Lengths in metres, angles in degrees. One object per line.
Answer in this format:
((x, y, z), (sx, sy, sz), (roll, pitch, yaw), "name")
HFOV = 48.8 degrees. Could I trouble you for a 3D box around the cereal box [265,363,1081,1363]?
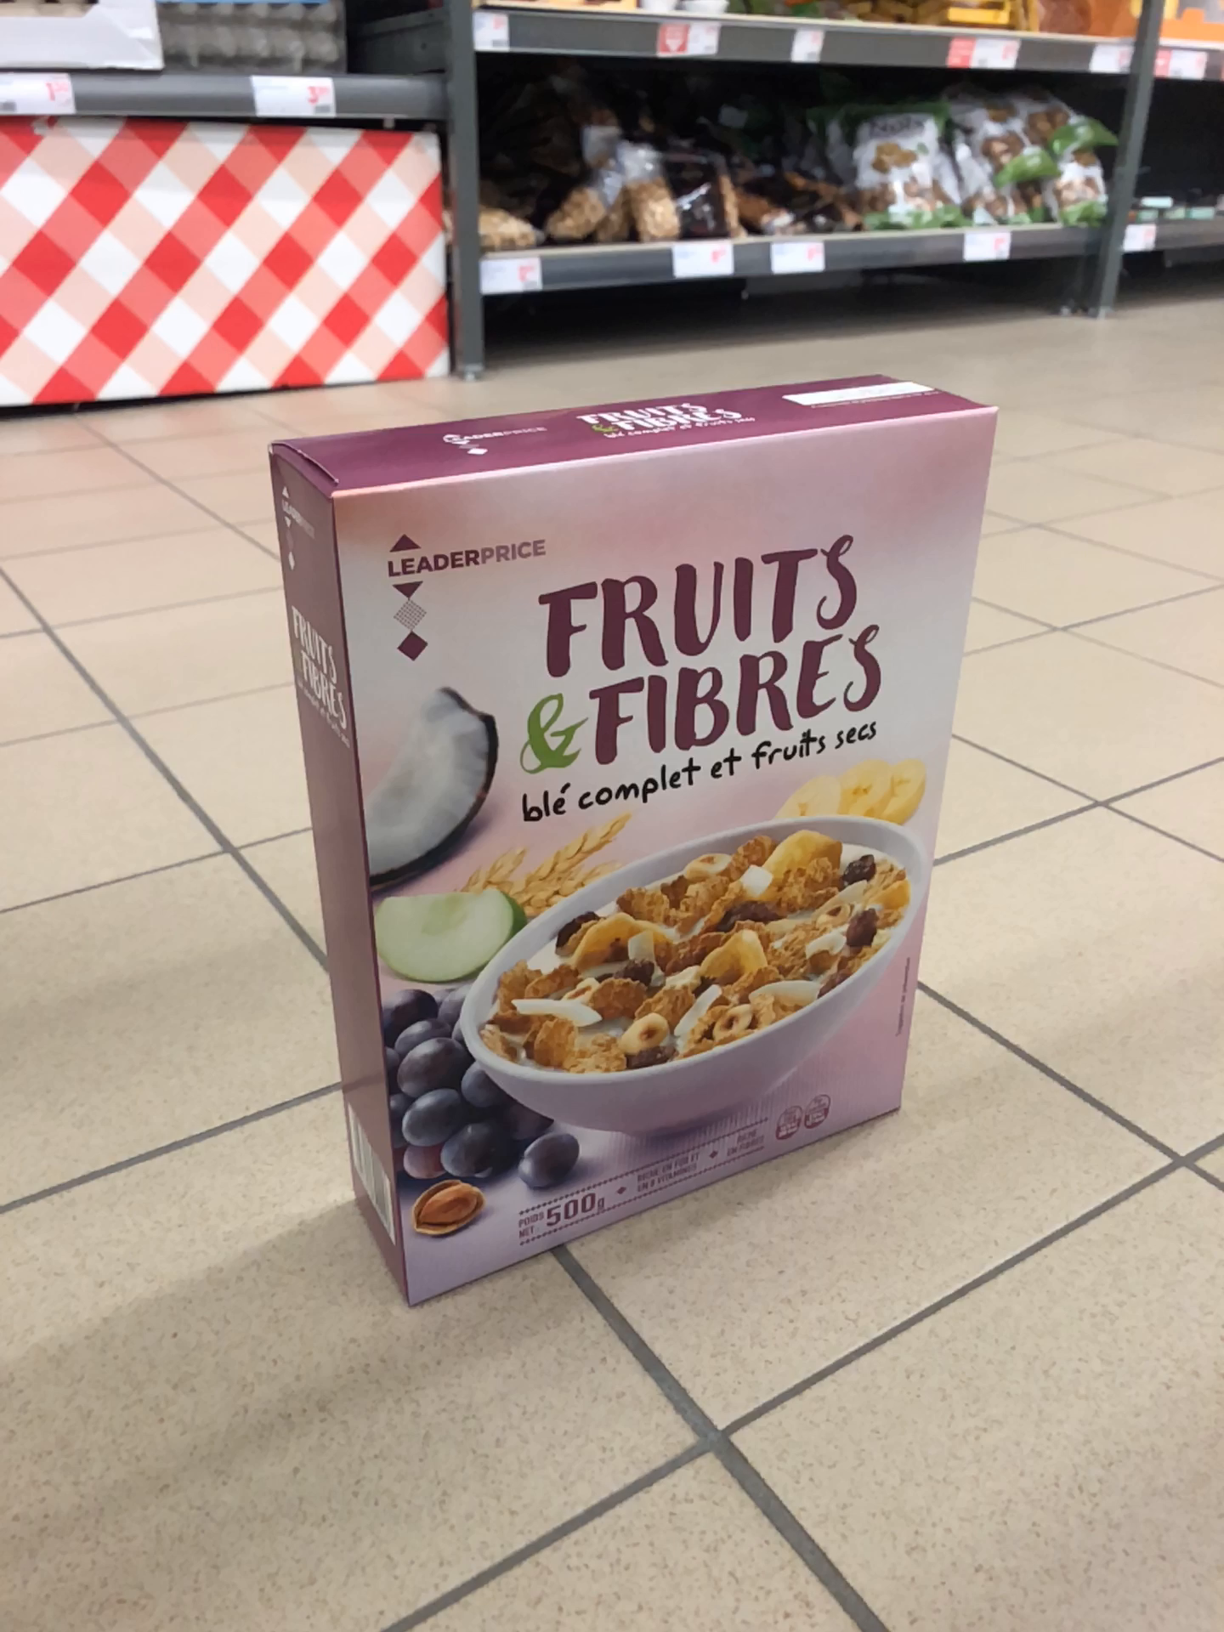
((0.023, 0.010, 0.407), (0.211, 0.259, 0.060), (-14, 29, -25), "cereal box")
